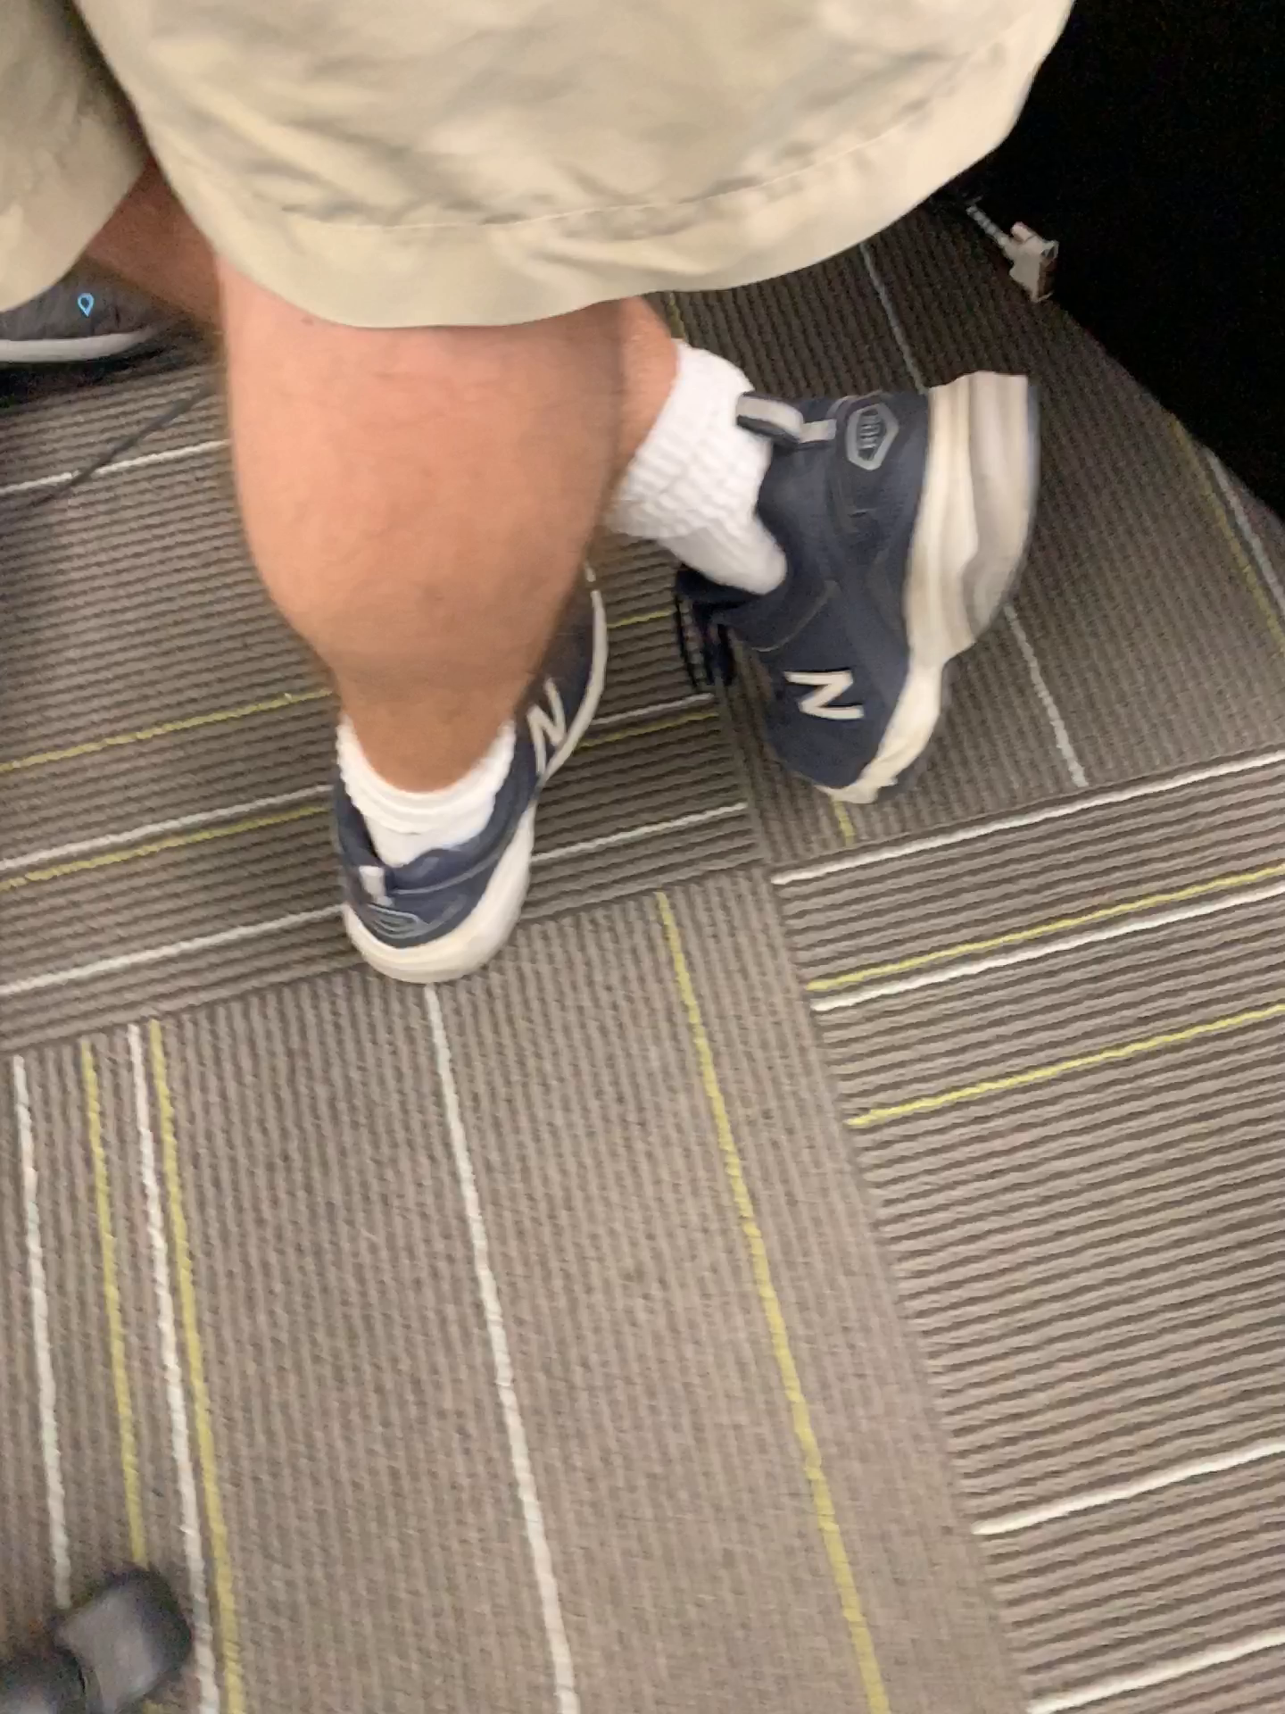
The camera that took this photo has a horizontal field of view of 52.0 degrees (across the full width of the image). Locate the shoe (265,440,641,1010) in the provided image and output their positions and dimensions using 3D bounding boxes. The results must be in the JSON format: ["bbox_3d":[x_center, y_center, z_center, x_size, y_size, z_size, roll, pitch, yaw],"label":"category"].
[{"bbox_3d":[-0.094,-0.078,0.735,0.120,0.077,0.297,12,70,6],"label":"shoe"}]

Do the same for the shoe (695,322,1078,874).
[{"bbox_3d":[0.104,-0.104,0.654,0.129,0.293,0.122,7,70,2],"label":"shoe"}]
